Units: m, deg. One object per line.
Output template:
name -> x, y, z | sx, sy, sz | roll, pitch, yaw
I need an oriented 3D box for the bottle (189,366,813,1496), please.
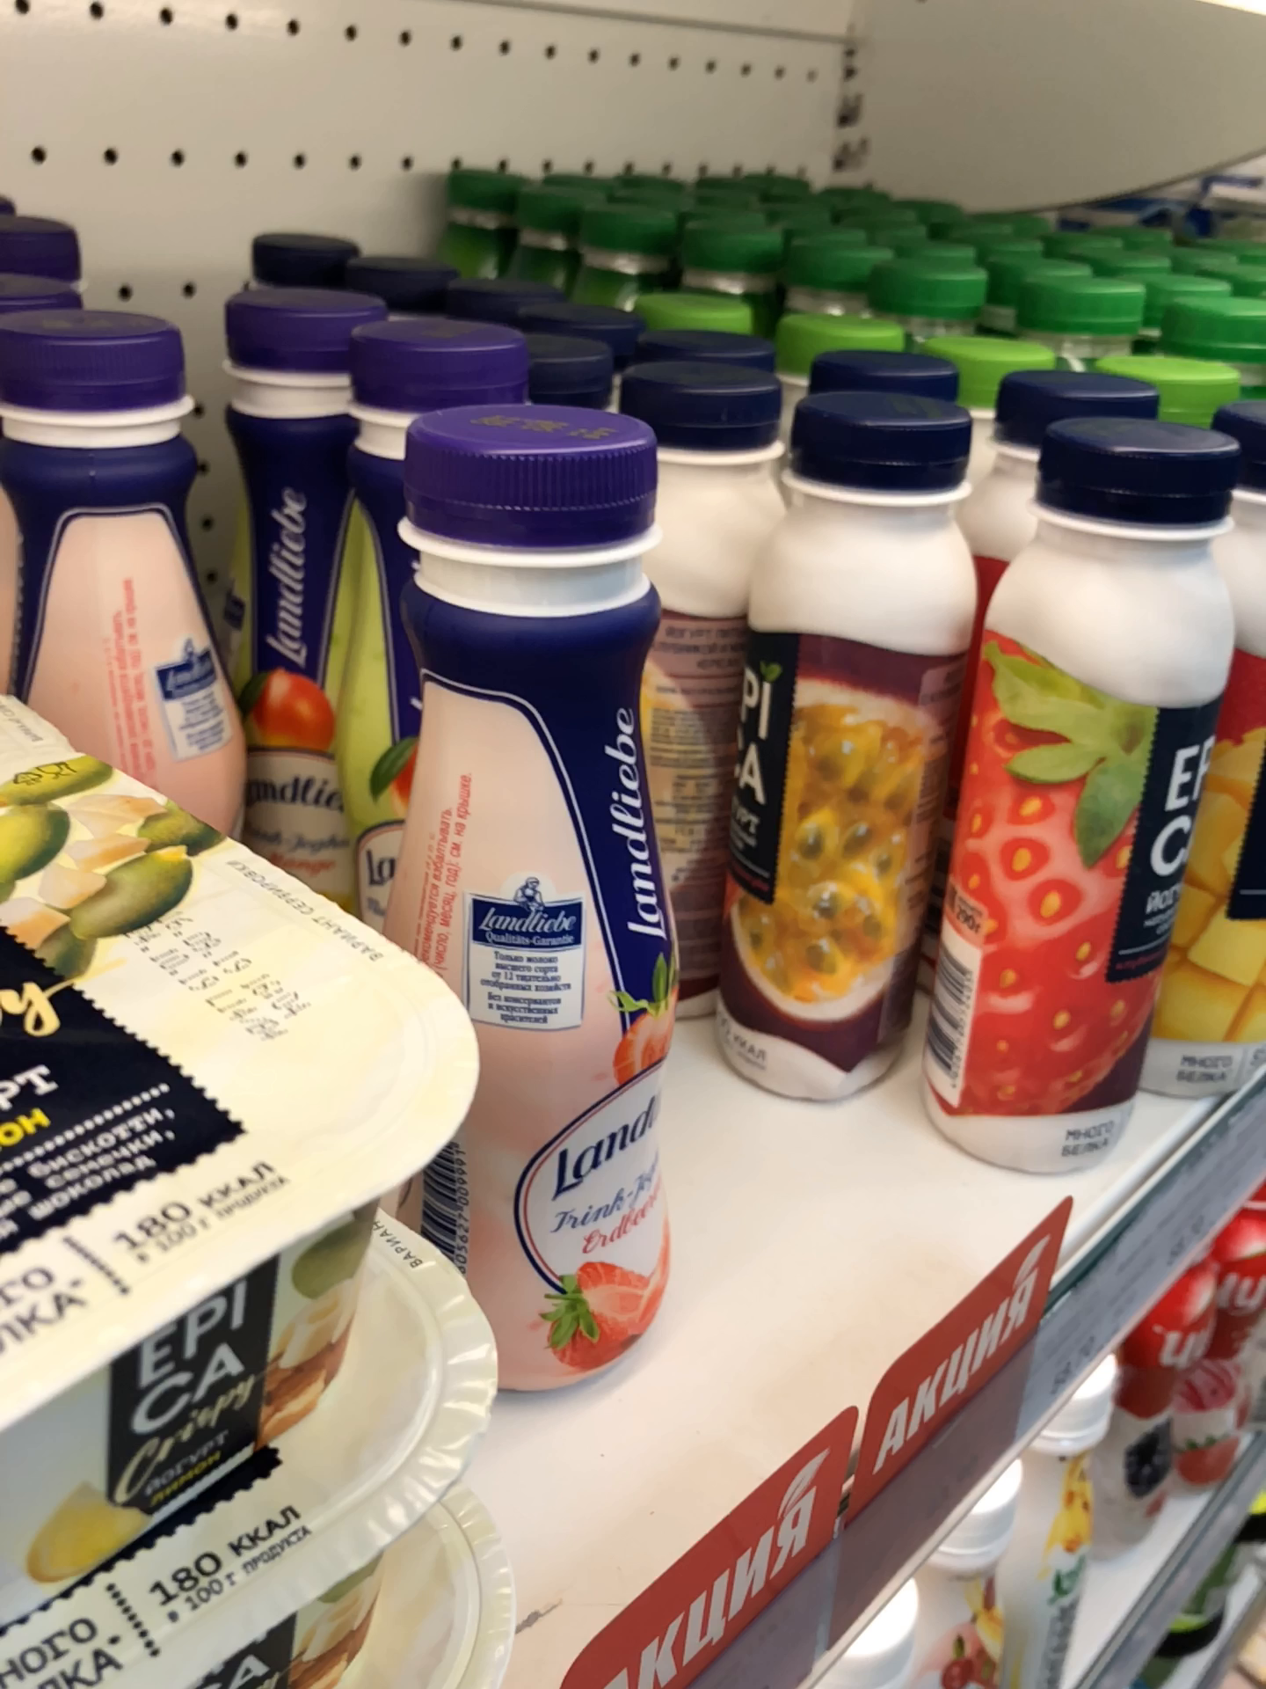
bottle -> -0.025, 0.016, 0.268 | 0.070, 0.189, 0.070 | 3, 27, -1
